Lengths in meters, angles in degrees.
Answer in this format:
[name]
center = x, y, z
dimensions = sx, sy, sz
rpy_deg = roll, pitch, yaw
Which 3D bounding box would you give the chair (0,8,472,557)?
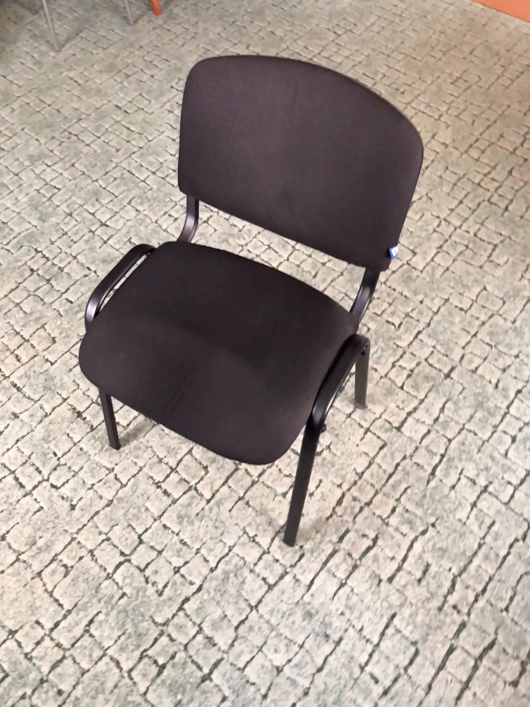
[chair]
center = -0.060, -0.096, 1.195
dimensions = 0.581, 0.785, 0.603
rpy_deg = 25, 62, 17
